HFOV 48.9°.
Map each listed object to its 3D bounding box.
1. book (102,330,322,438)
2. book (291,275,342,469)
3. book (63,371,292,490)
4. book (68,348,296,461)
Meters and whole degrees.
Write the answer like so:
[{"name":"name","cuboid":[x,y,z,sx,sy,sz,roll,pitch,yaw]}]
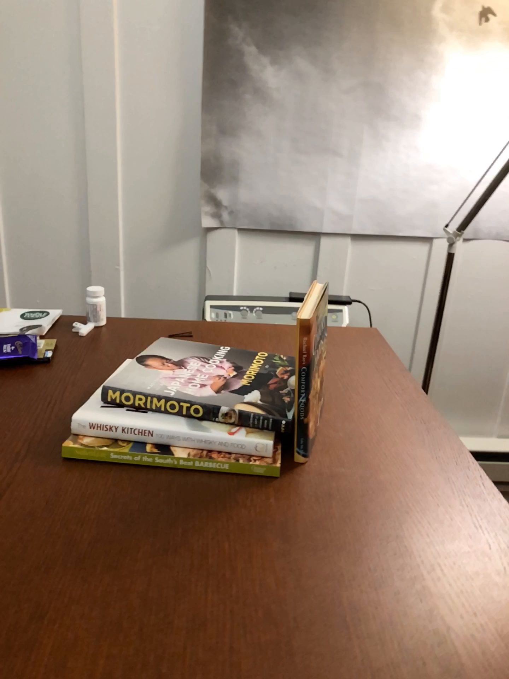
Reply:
[{"name":"book","cuboid":[-0.049,0.055,0.843,0.280,0.030,0.221,9,21,9]},{"name":"book","cuboid":[0.091,0.034,0.795,0.030,0.209,0.211,6,19,12]},{"name":"book","cuboid":[-0.090,0.118,0.791,0.280,0.030,0.221,6,21,2]},{"name":"book","cuboid":[-0.086,0.083,0.806,0.280,0.030,0.221,7,21,4]}]
